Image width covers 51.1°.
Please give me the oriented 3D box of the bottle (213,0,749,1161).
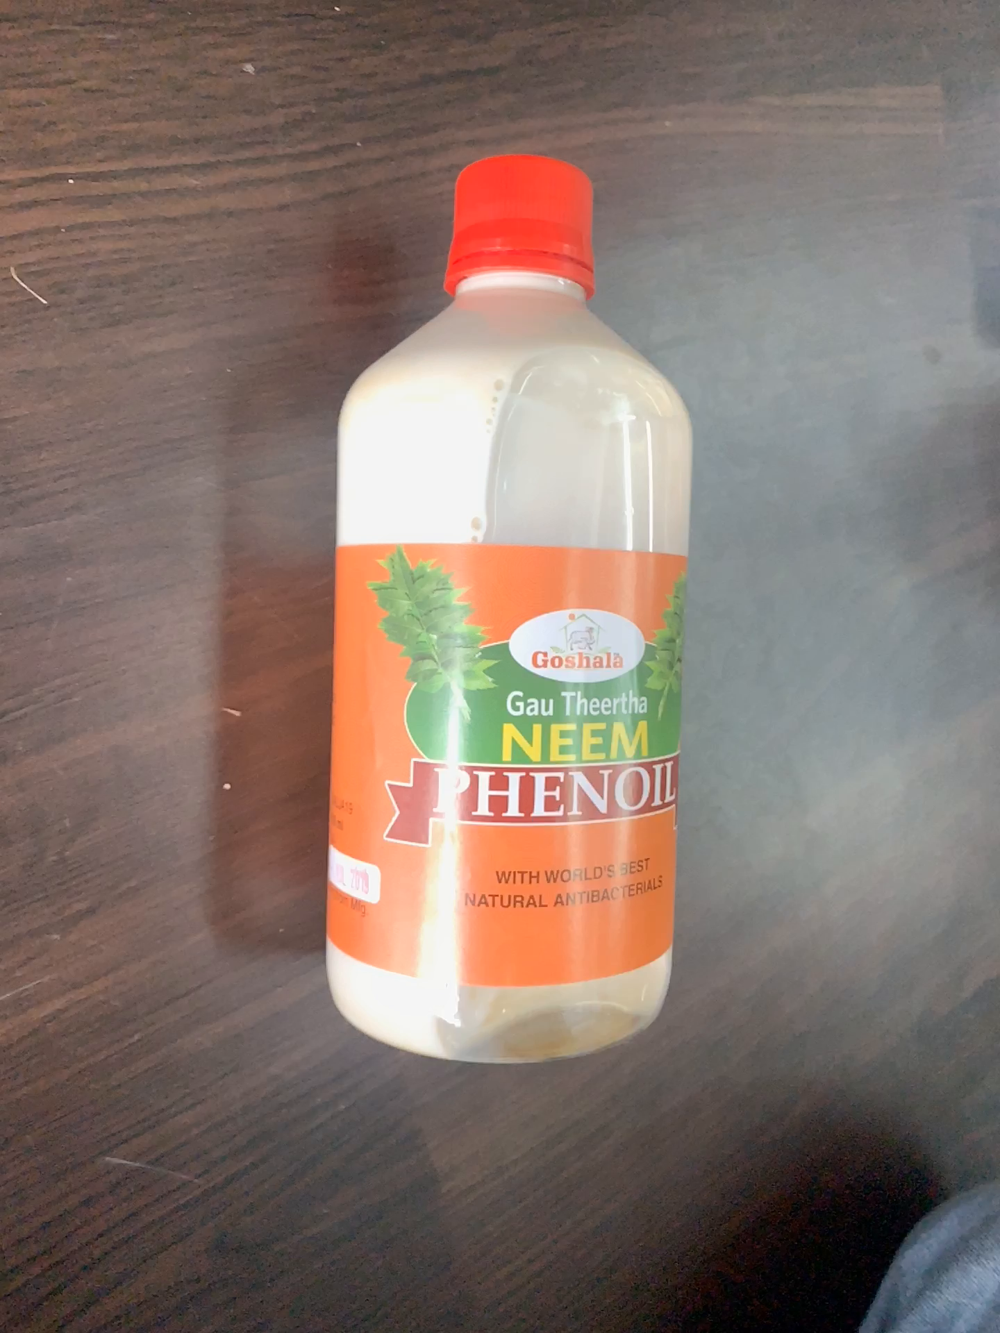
[{"bbox_3d":[-0.008,-0.014,0.220,0.080,0.070,0.190,0,95,-30],"label":"bottle"}]
